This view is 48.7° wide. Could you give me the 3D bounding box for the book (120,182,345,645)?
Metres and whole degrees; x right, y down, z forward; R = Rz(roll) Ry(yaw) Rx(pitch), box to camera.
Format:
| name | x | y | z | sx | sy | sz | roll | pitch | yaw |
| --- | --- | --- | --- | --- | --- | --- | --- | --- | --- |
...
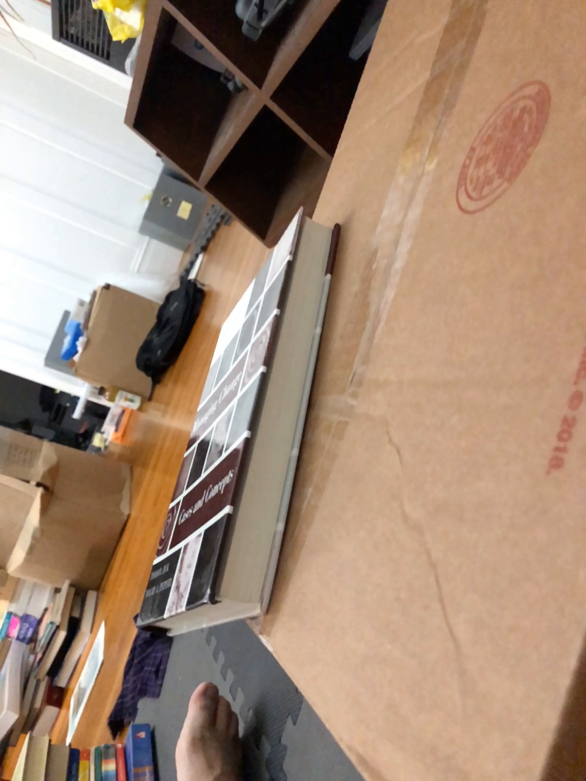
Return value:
| name | x | y | z | sx | sy | sz | roll | pitch | yaw |
| --- | --- | --- | --- | --- | --- | --- | --- | --- | --- |
| book | -0.040 | 0.021 | 0.408 | 0.180 | 0.030 | 0.250 | -42 | 33 | 56 |
